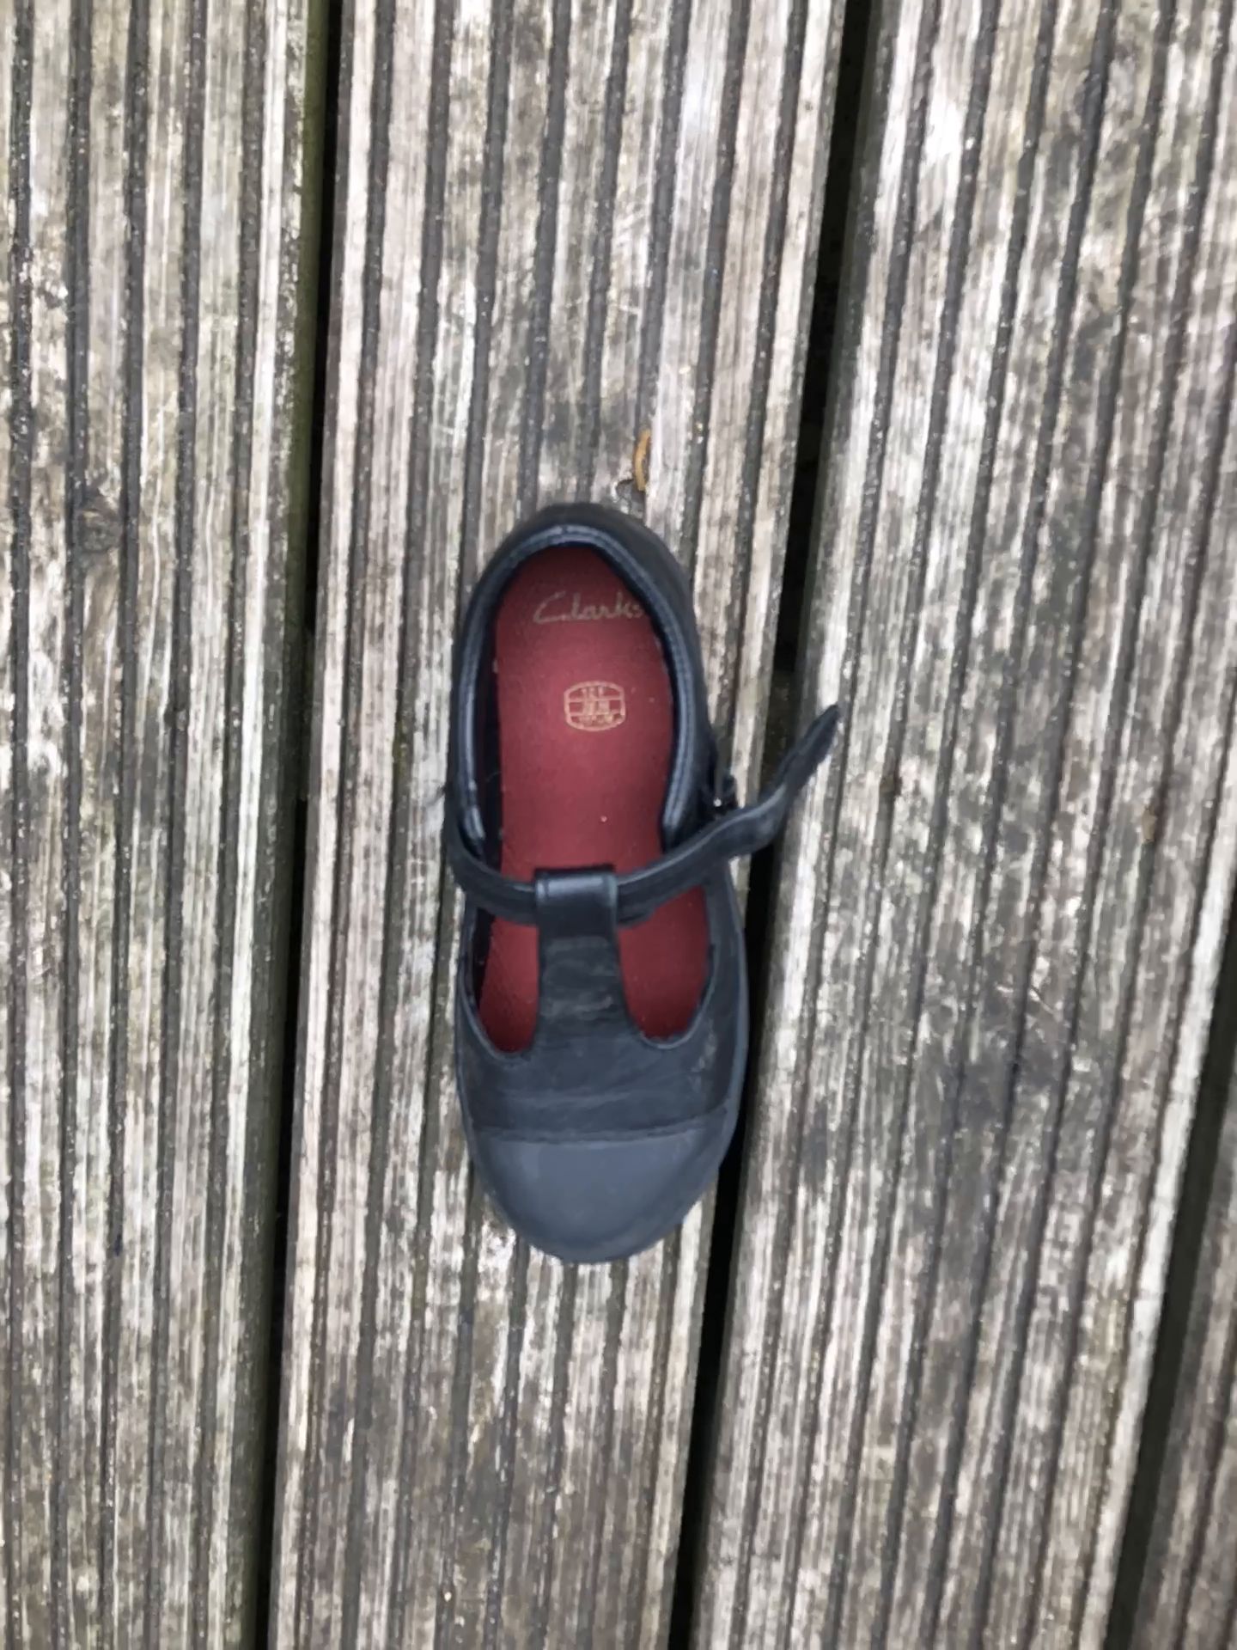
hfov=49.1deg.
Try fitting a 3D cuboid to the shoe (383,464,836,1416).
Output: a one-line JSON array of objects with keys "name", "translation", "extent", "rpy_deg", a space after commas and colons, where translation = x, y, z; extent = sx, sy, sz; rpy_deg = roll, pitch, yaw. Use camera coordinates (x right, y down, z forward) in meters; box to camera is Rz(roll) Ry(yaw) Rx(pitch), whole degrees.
[{"name": "shoe", "translation": [-0.004, 0.022, 0.311], "extent": [0.080, 0.080, 0.193], "rpy_deg": [4, 101, 1]}]
